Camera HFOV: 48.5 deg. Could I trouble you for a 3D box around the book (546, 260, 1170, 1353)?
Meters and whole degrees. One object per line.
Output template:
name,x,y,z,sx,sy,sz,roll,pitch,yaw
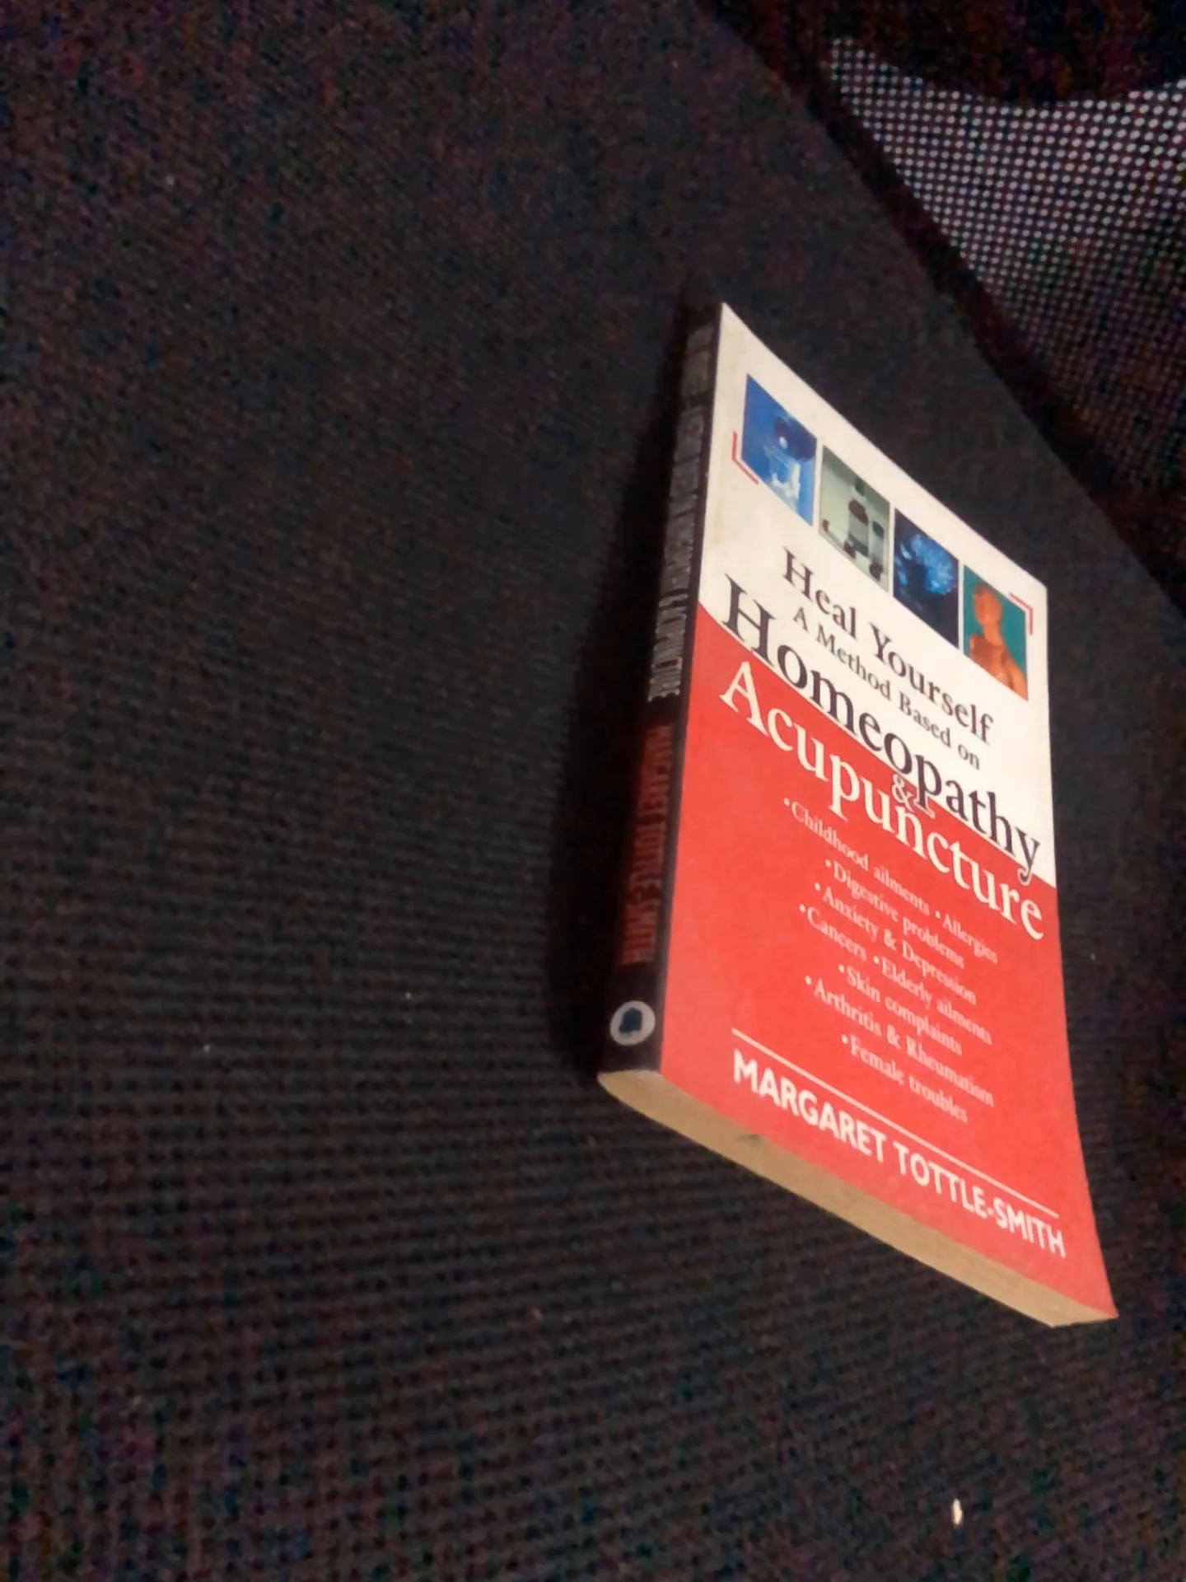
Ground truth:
book,0.069,-0.007,0.305,0.151,0.020,0.221,33,47,-28
